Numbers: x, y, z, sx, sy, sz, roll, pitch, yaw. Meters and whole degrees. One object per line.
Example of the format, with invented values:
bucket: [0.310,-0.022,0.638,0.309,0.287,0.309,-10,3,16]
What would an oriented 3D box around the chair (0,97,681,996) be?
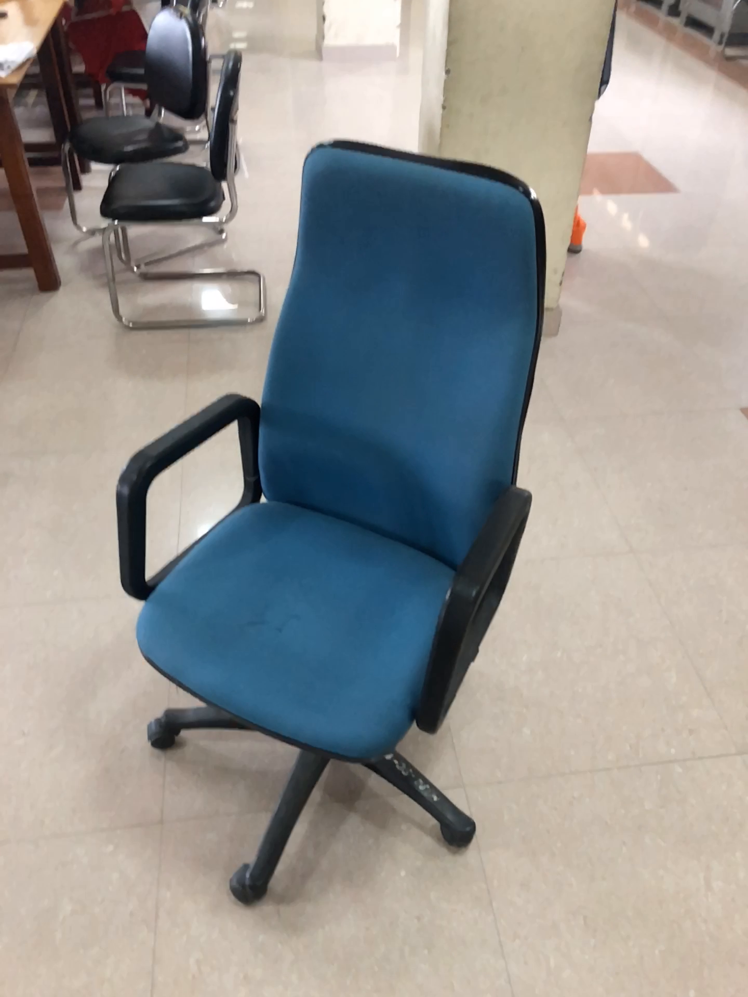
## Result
chair: [-0.105,0.077,1.340,0.741,1.076,0.762,21,45,20]
